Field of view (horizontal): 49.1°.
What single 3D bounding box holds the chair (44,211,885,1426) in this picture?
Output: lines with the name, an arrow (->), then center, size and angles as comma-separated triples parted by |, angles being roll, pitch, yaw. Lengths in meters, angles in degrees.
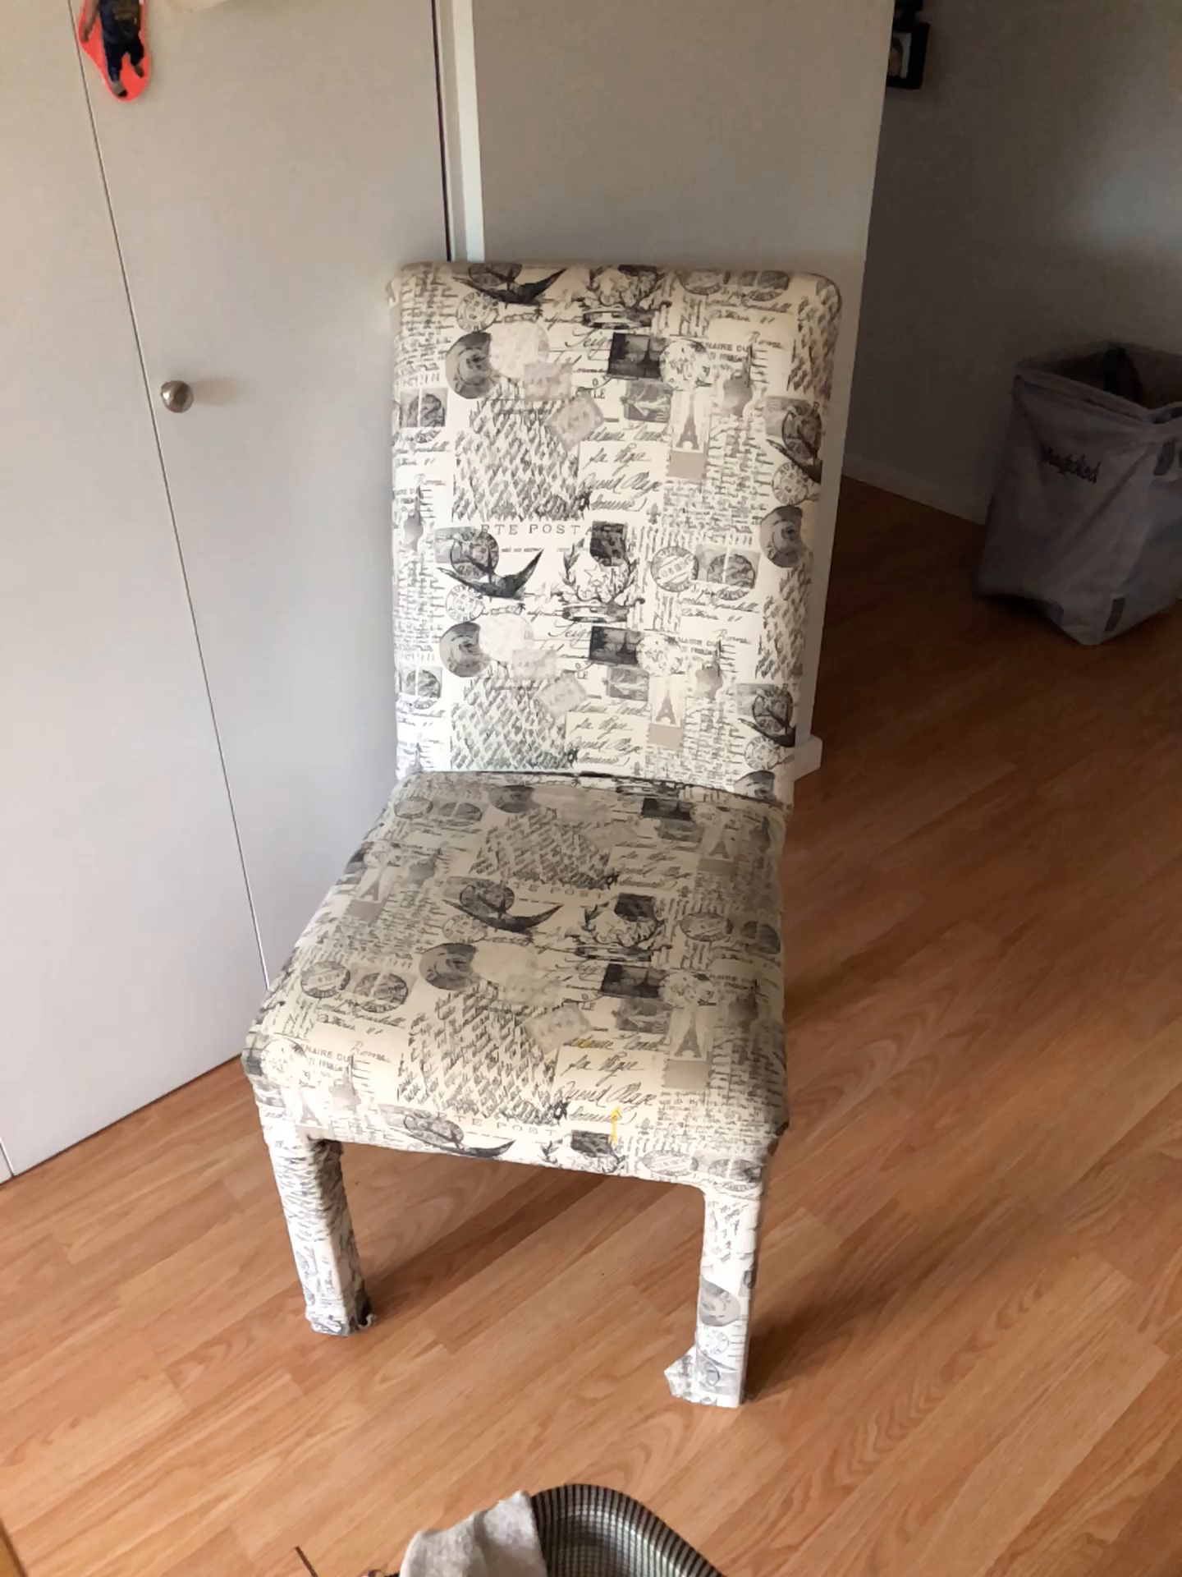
chair -> -0.029, 0.020, 1.332 | 0.520, 0.997, 0.672 | 6, 35, 8
